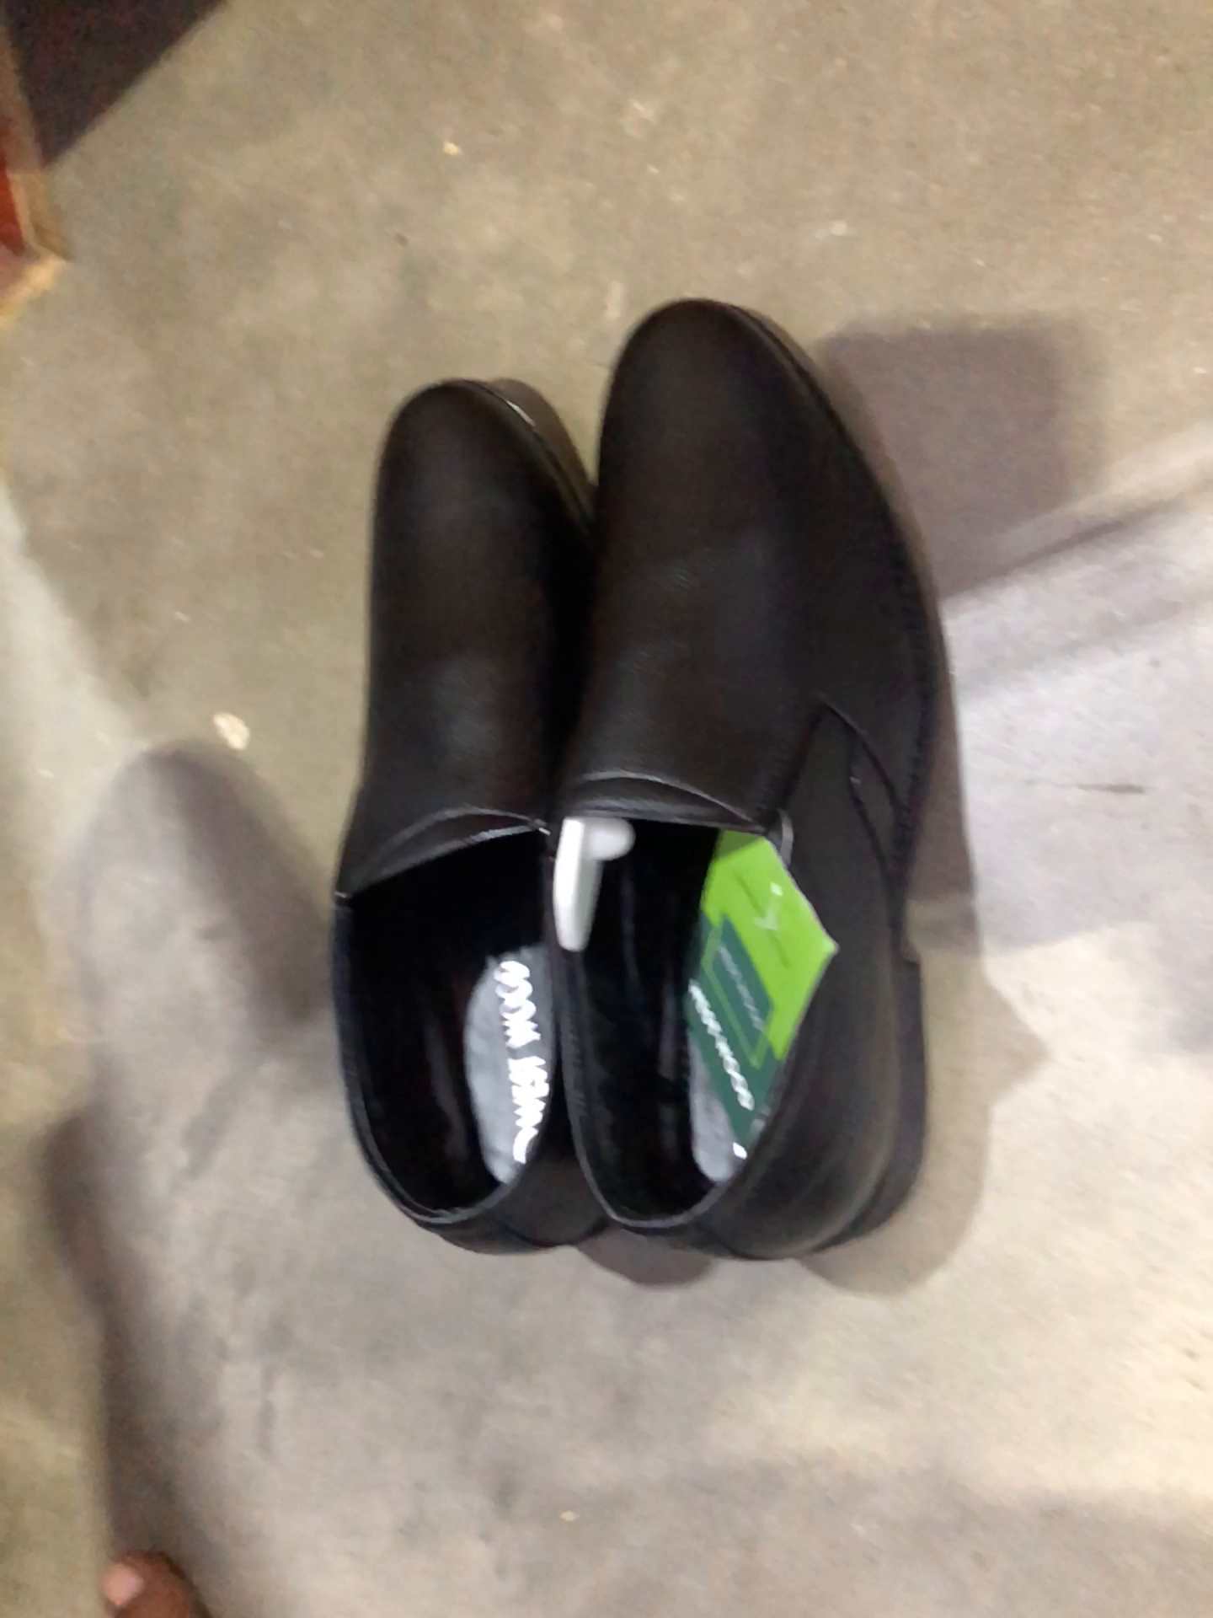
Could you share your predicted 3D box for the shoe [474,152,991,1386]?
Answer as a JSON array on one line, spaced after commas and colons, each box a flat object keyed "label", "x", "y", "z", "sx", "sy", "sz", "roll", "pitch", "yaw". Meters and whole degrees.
[{"label": "shoe", "x": 0.036, "y": -0.009, "z": 0.387, "sx": 0.100, "sy": 0.090, "sz": 0.300, "roll": -6, "pitch": 84, "yaw": 30}]

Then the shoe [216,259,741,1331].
[{"label": "shoe", "x": -0.042, "y": -0.001, "z": 0.437, "sx": 0.100, "sy": 0.100, "sz": 0.300, "roll": -11, "pitch": 82, "yaw": 29}]
